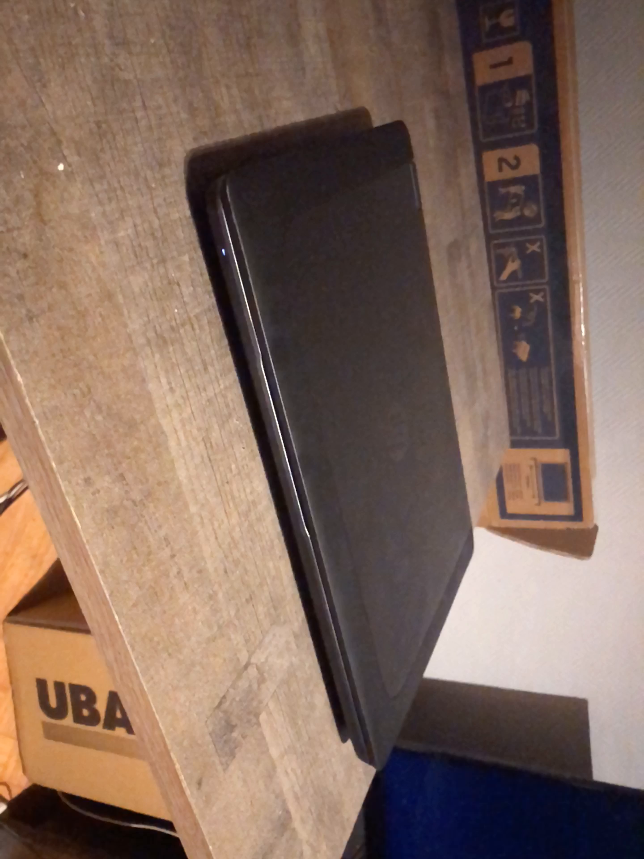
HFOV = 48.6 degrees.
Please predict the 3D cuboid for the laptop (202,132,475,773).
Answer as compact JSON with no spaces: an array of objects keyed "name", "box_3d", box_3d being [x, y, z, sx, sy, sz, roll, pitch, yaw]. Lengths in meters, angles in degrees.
[{"name":"laptop","box_3d":[0.043,0.005,0.487,0.241,0.017,0.366,-48,131,-53]}]
